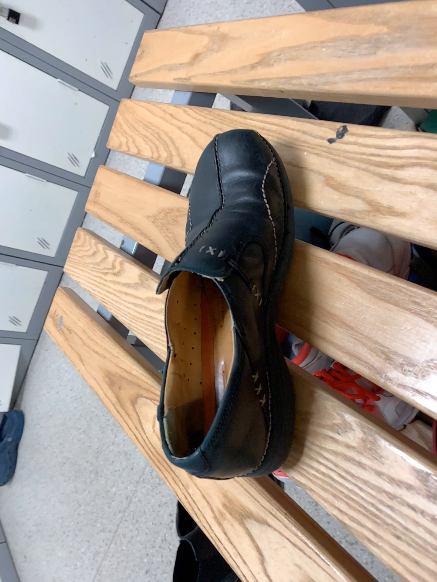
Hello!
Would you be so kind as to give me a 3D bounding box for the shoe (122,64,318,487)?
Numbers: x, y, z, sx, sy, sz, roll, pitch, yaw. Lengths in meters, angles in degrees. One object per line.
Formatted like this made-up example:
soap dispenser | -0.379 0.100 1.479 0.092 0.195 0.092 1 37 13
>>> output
shoe | -0.006 -0.009 0.328 0.104 0.075 0.268 -18 67 42
